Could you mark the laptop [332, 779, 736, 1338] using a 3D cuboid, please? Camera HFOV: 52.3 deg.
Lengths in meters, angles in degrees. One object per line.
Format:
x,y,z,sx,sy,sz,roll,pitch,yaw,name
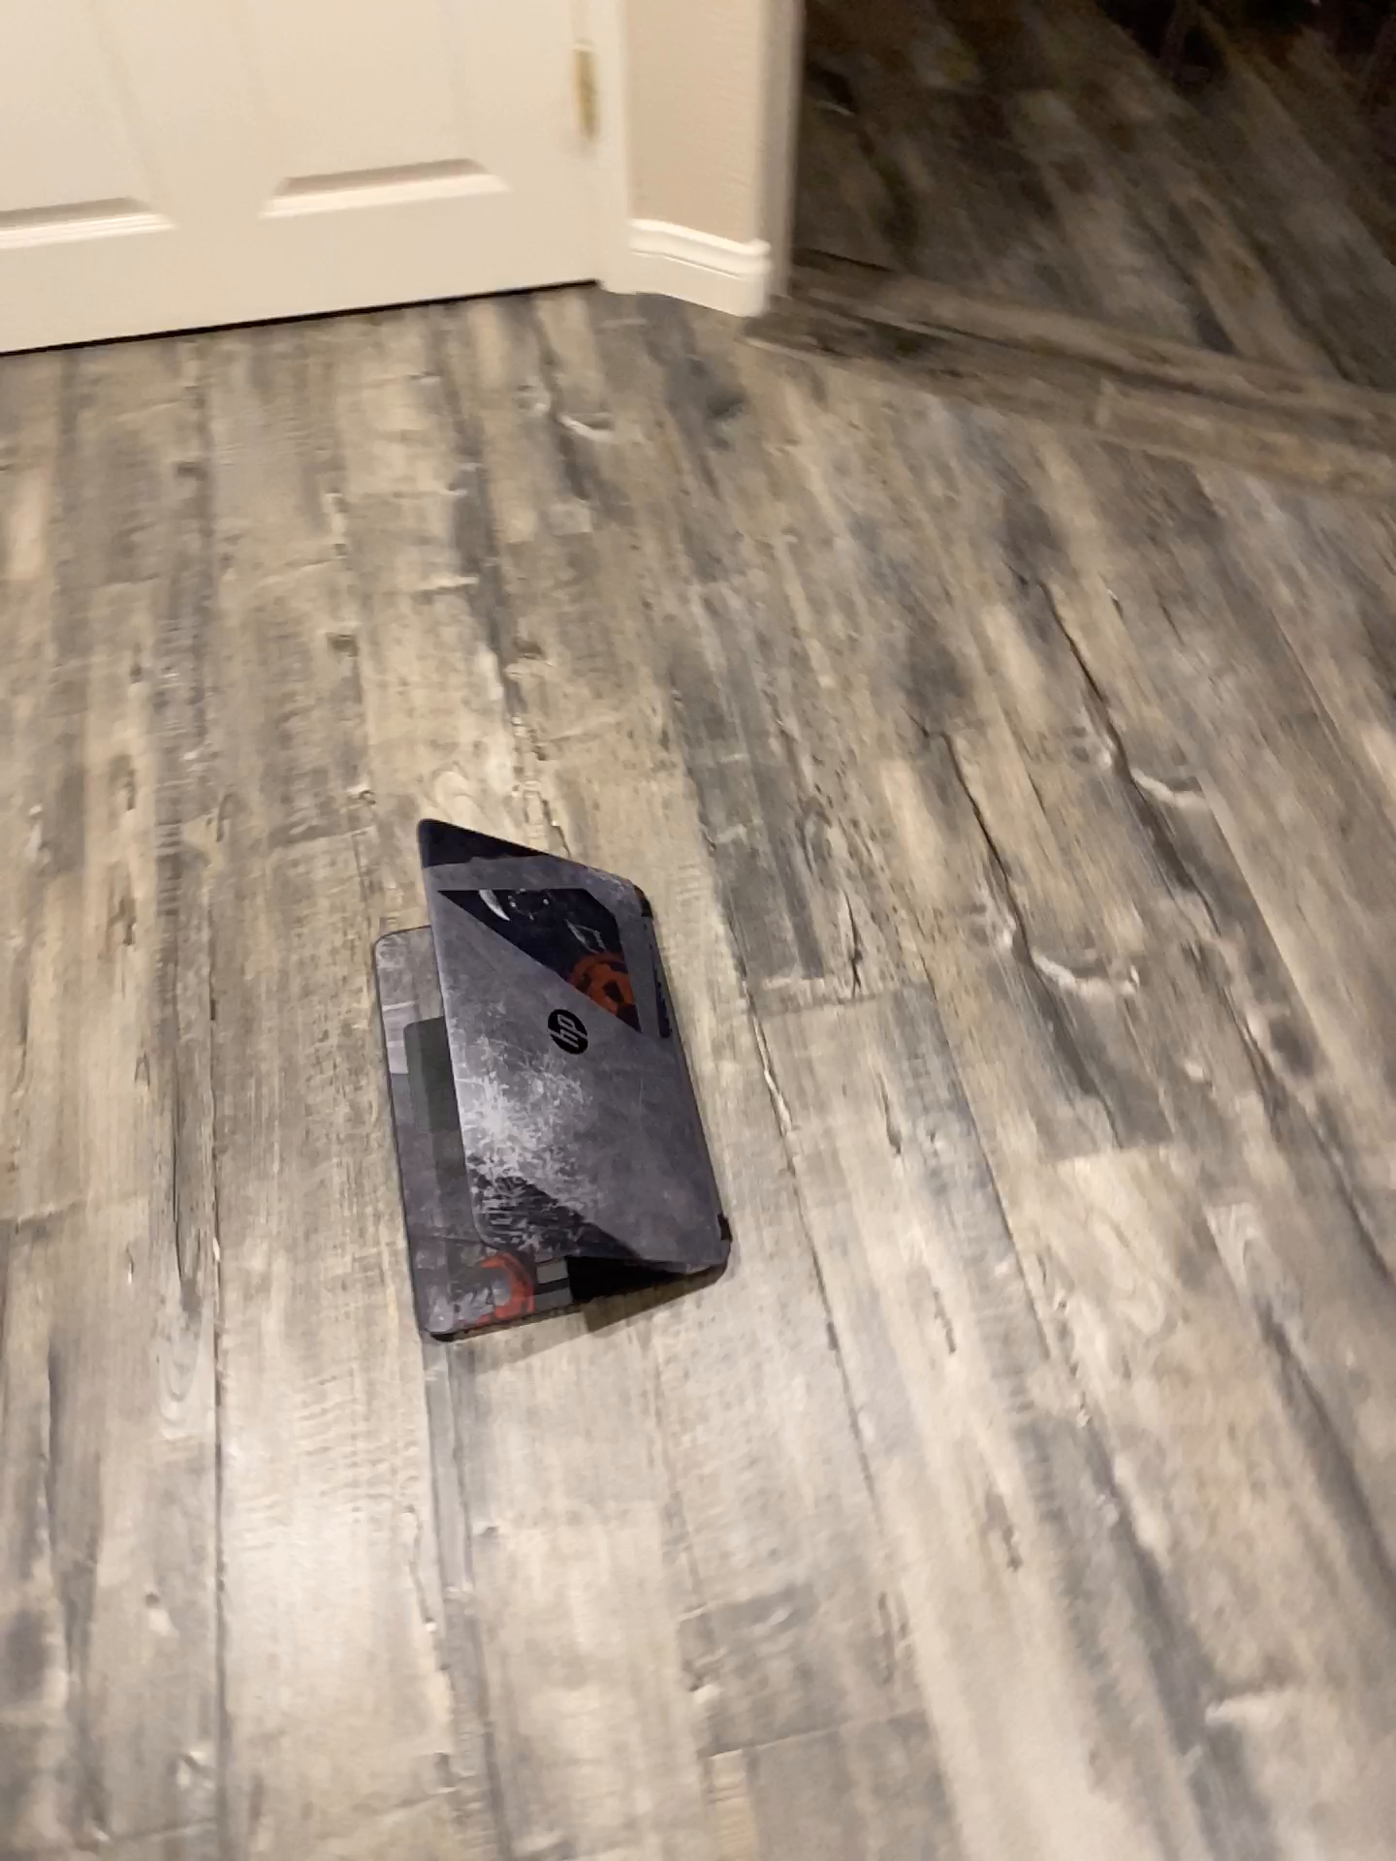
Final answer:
-0.137,0.098,1.166,0.250,0.177,0.375,-12,59,-6,laptop
